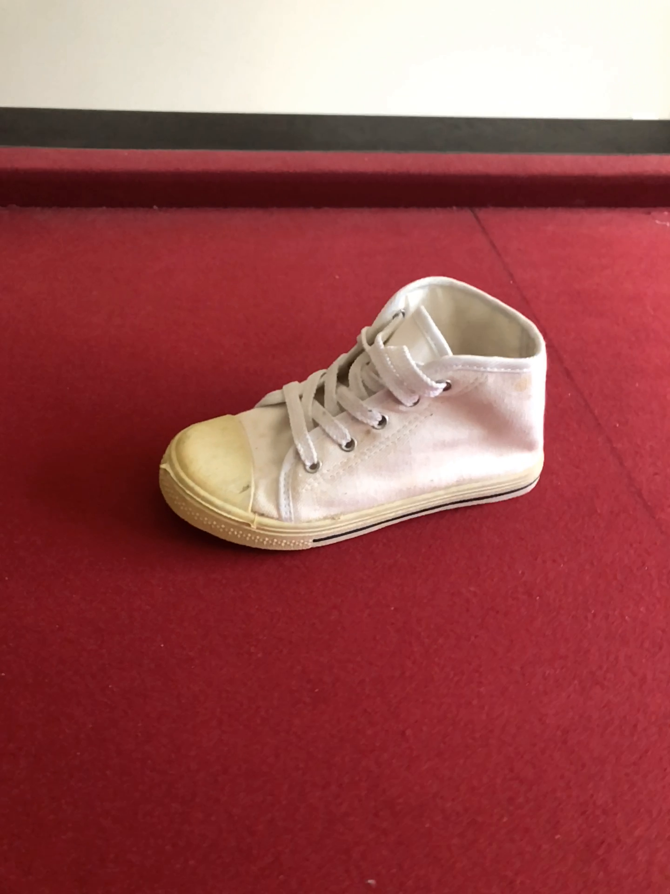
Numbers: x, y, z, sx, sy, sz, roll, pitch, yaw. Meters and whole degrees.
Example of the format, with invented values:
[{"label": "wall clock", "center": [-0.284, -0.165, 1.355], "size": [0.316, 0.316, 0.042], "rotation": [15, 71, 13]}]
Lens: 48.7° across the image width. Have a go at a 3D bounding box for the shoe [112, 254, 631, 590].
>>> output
[{"label": "shoe", "center": [0.013, -0.021, 0.373], "size": [0.221, 0.089, 0.100], "rotation": [-11, 44, -17]}]
